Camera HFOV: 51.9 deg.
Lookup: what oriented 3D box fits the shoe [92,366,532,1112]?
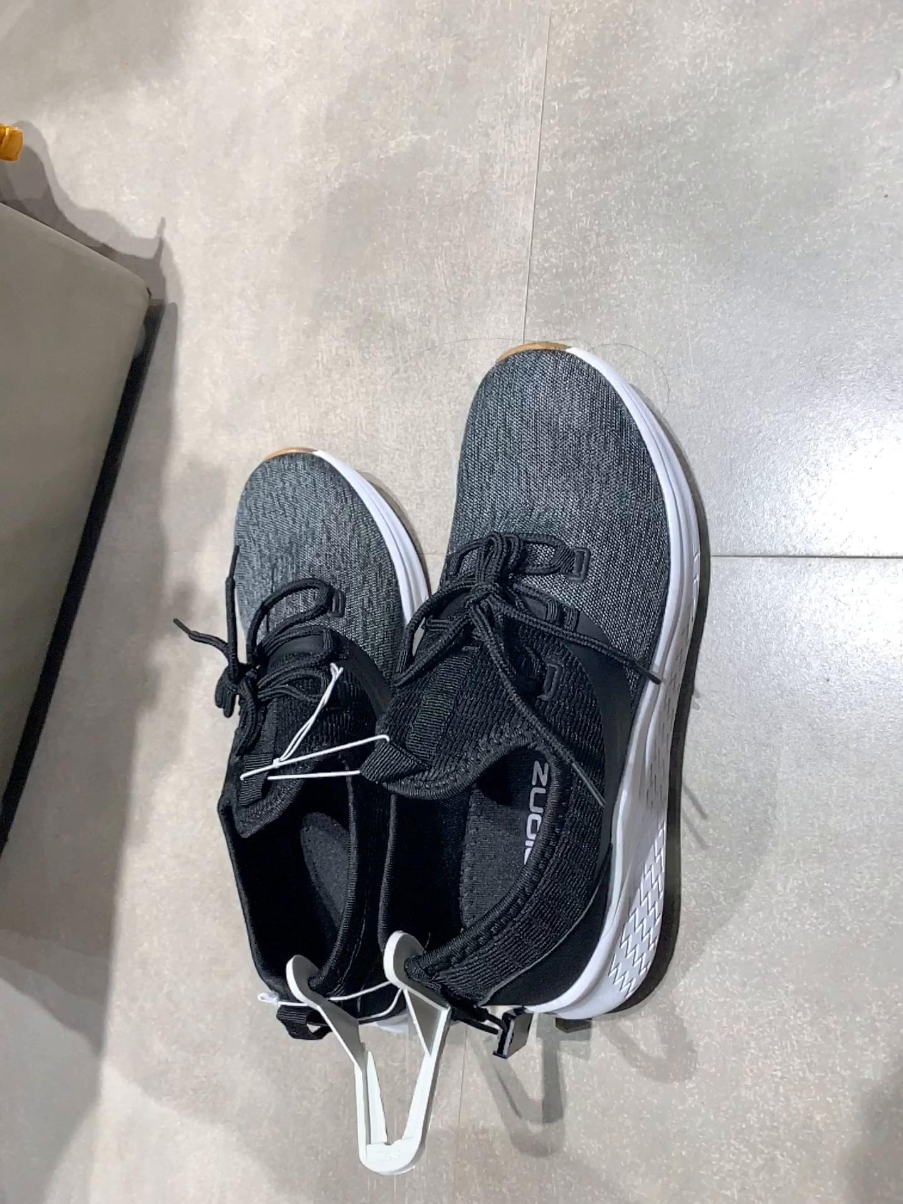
[{"bbox_3d":[-0.067,0.056,0.412,0.106,0.096,0.278,-22,73,28],"label":"shoe"}]

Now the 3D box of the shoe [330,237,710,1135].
[{"bbox_3d":[0.032,0.026,0.357,0.108,0.096,0.278,-2,83,32],"label":"shoe"}]
